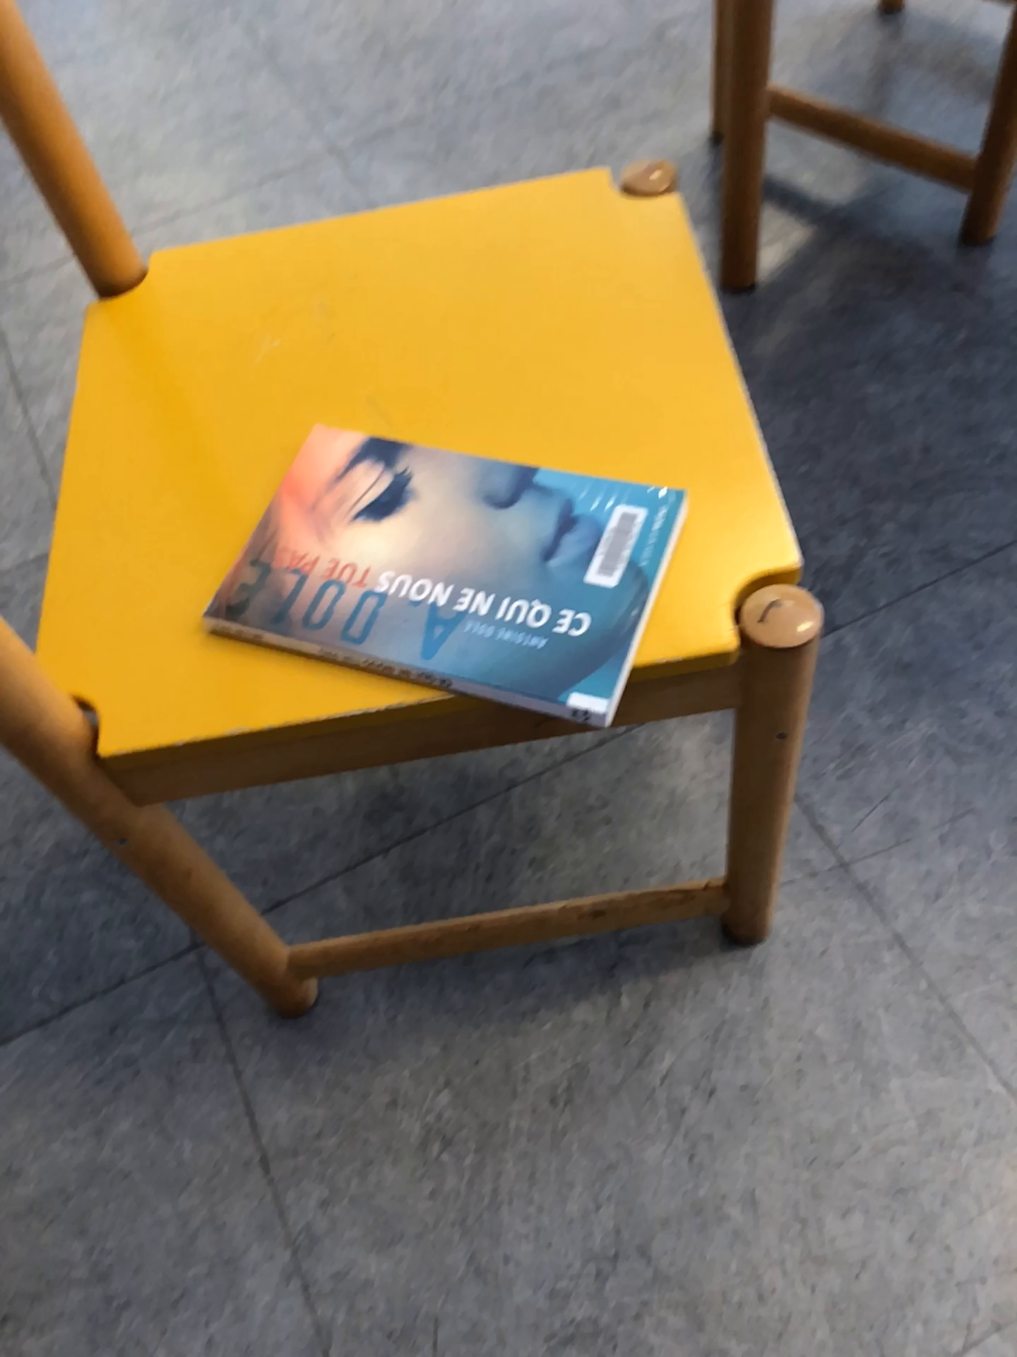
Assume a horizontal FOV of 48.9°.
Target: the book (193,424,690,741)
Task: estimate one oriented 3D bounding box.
[{"bbox_3d":[-0.031,-0.056,0.557,0.212,0.016,0.141,13,60,17],"label":"book"}]
